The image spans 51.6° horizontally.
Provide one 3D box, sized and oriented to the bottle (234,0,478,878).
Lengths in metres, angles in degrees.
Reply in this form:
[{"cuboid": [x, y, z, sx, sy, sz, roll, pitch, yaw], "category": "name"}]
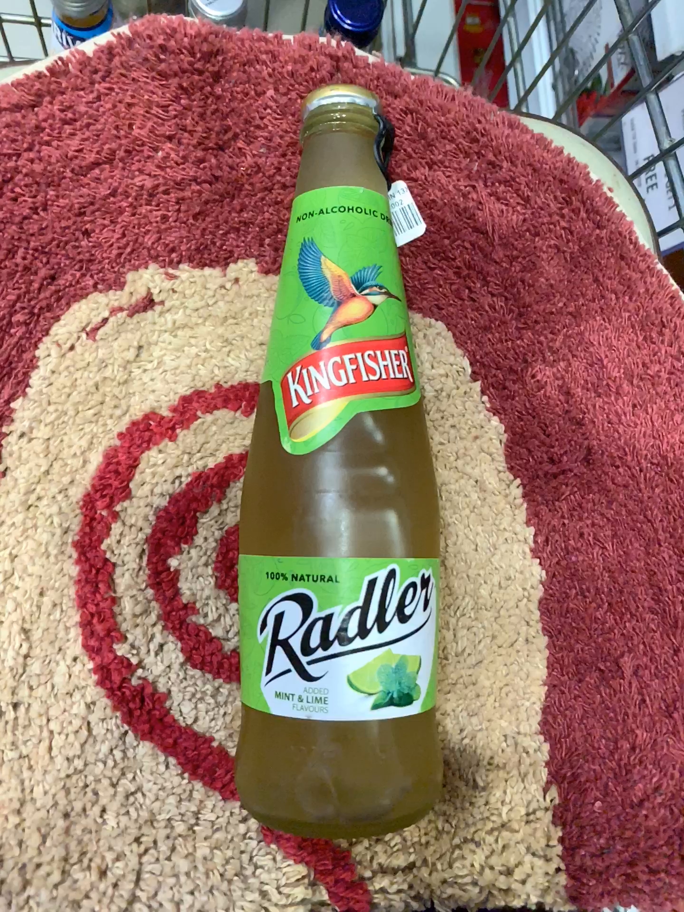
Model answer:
[{"cuboid": [-0.003, -0.015, 0.217, 0.060, 0.060, 0.240, 0, 83, -9], "category": "bottle"}]
